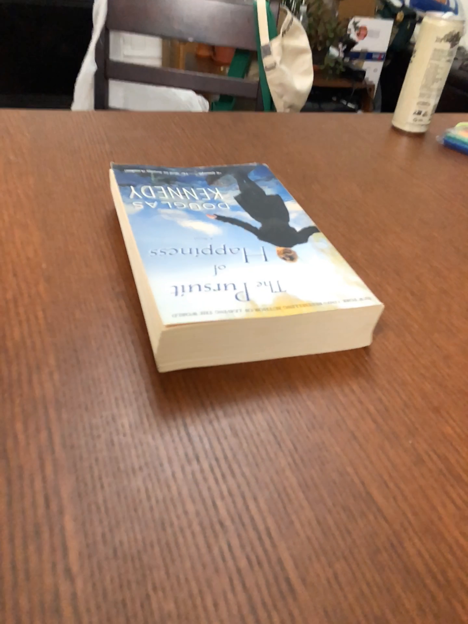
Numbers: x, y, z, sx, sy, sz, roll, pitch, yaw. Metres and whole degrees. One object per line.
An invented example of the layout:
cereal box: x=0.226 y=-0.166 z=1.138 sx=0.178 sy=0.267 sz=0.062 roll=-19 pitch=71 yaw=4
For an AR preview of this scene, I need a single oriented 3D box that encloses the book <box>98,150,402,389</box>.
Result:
book: x=-0.010 y=-0.056 z=0.399 sx=0.160 sy=0.050 sz=0.241 roll=-5 pitch=39 yaw=-18
